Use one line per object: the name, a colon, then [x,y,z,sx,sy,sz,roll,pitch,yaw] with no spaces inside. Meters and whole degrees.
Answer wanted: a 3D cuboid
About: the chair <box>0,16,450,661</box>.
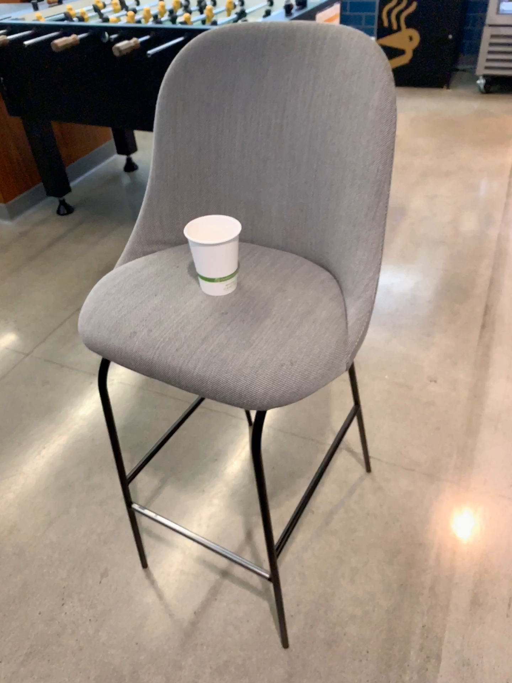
chair: [-0.021,0.028,1.040,0.471,1.054,0.572,17,45,24]
